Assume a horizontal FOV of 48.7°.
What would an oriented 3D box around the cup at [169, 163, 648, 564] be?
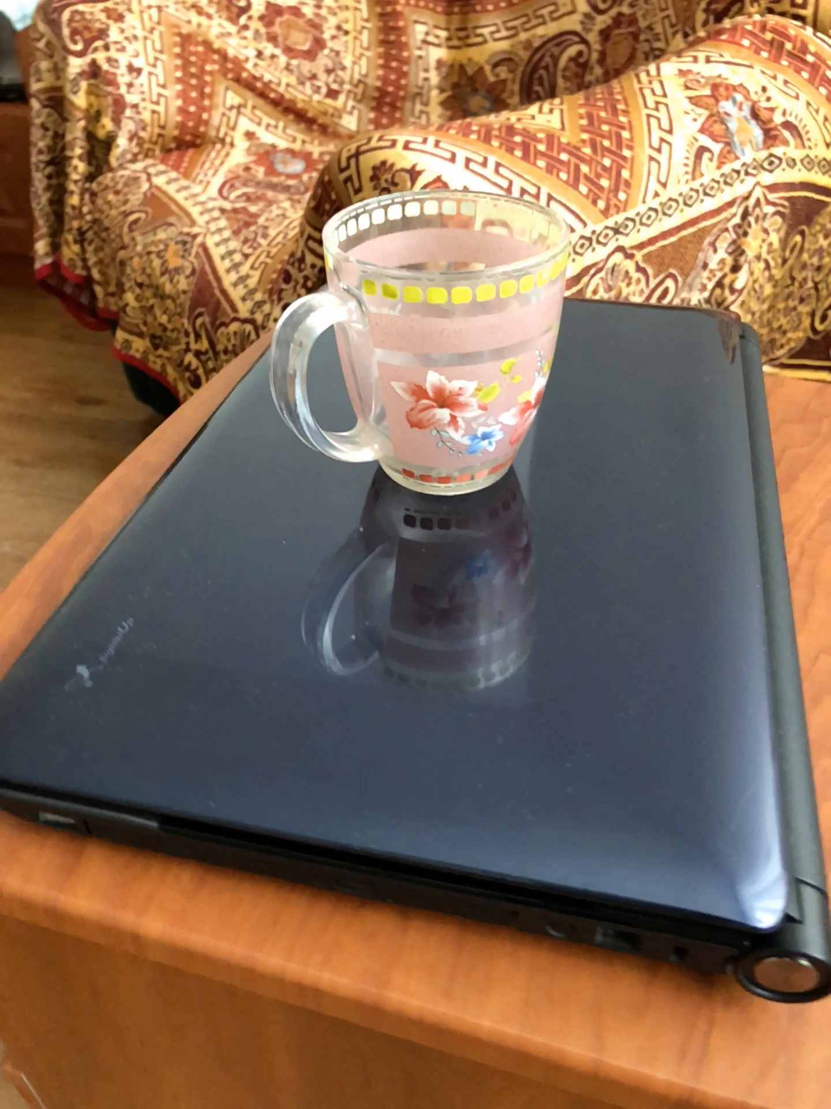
[{"bbox_3d":[-0.002,-0.077,0.332,0.130,0.081,0.095,-27,46,-31],"label":"cup"}]
